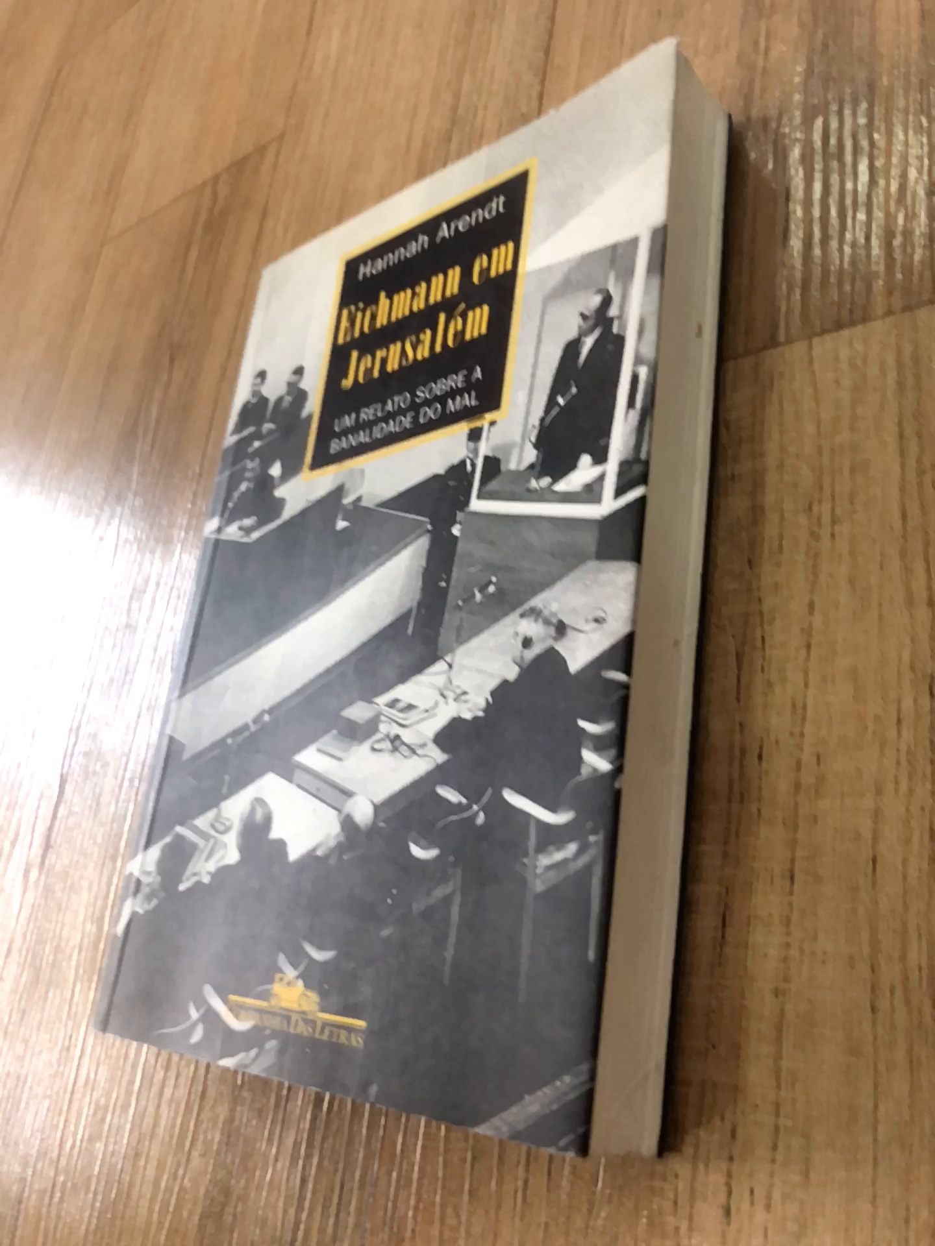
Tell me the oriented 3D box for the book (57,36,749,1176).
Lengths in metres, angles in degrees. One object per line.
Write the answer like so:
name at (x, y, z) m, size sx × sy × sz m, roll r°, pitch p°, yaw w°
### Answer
book at (-0.015, -0.008, 0.228) m, size 0.141 × 0.030 × 0.200 m, roll -8°, pitch 66°, yaw 40°
